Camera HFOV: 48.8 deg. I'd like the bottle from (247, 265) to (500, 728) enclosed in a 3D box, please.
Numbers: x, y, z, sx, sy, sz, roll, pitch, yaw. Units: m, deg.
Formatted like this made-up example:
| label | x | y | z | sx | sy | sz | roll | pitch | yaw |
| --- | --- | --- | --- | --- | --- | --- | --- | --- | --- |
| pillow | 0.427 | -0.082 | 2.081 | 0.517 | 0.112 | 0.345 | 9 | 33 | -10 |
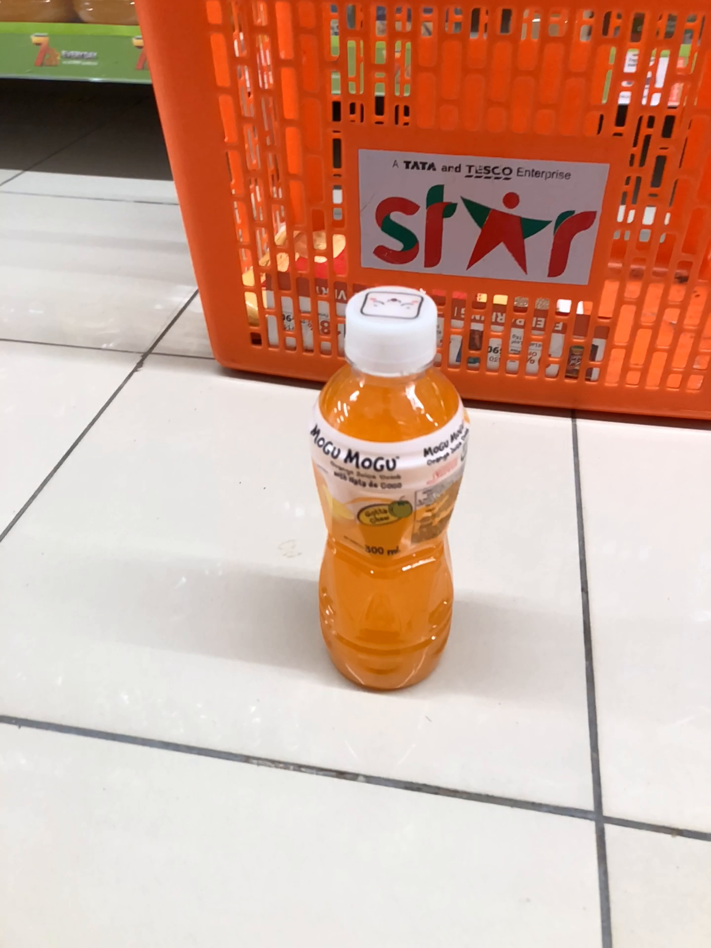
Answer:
| label | x | y | z | sx | sy | sz | roll | pitch | yaw |
| --- | --- | --- | --- | --- | --- | --- | --- | --- | --- |
| bottle | 0.007 | 0.014 | 0.291 | 0.060 | 0.159 | 0.050 | 27 | 46 | 31 |
